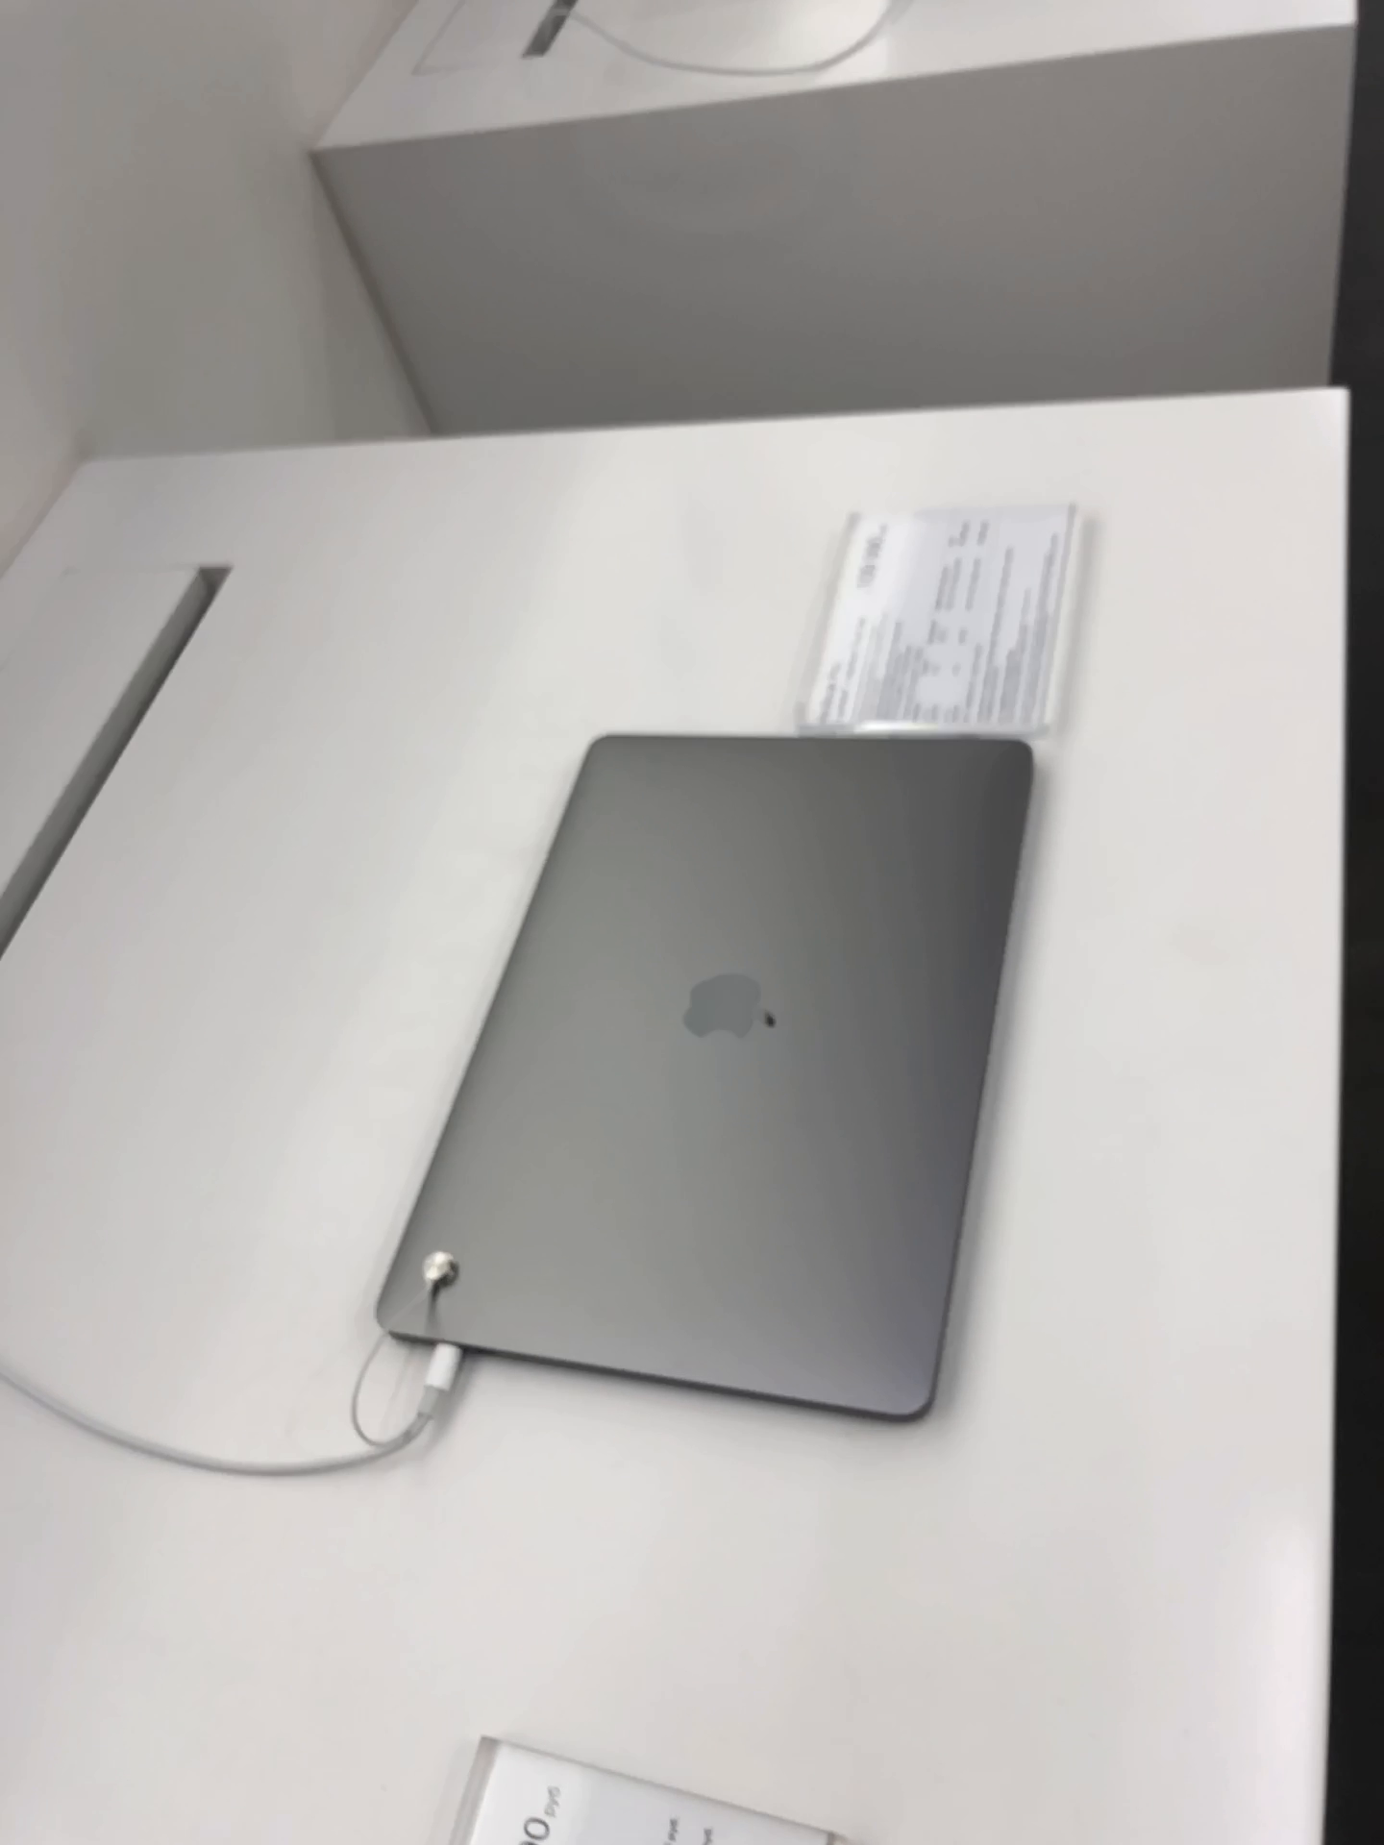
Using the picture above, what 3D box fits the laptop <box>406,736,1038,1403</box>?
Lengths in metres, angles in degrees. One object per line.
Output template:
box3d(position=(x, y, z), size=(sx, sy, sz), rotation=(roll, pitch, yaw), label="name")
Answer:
box3d(position=(0.022, 0.035, 0.624), size=(0.198, 0.001, 0.294), rotation=(4, 54, 19), label="laptop")
